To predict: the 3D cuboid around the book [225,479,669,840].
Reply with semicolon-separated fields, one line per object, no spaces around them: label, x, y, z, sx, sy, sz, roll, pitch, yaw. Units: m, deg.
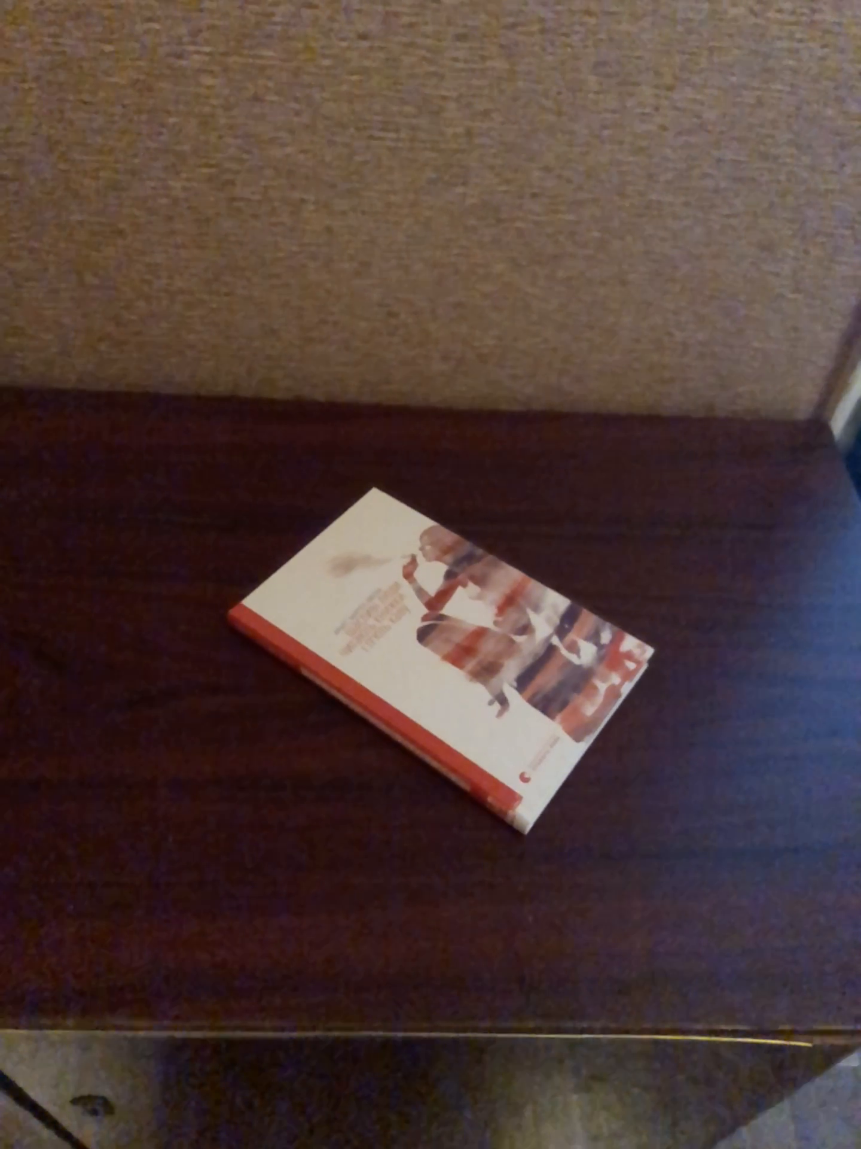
book;0.010;0.039;0.588;0.228;0.020;0.151;31;53;20
